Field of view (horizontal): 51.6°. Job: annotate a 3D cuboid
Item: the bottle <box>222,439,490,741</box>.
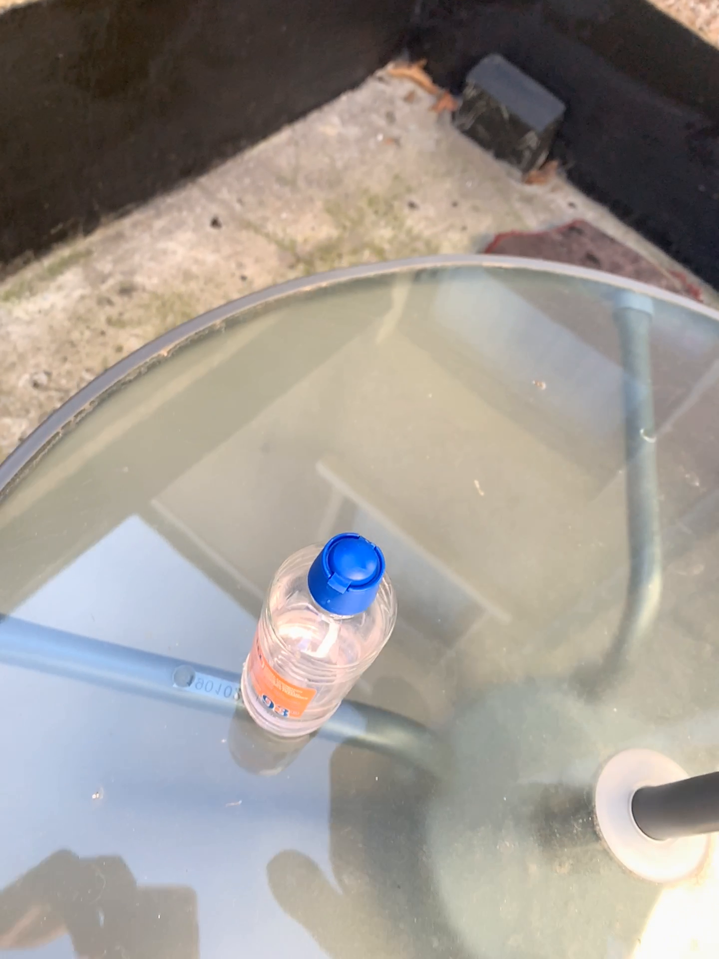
[{"bbox_3d":[-0.014,0.055,0.306,0.060,0.159,0.060,7,60,-12],"label":"bottle"}]
